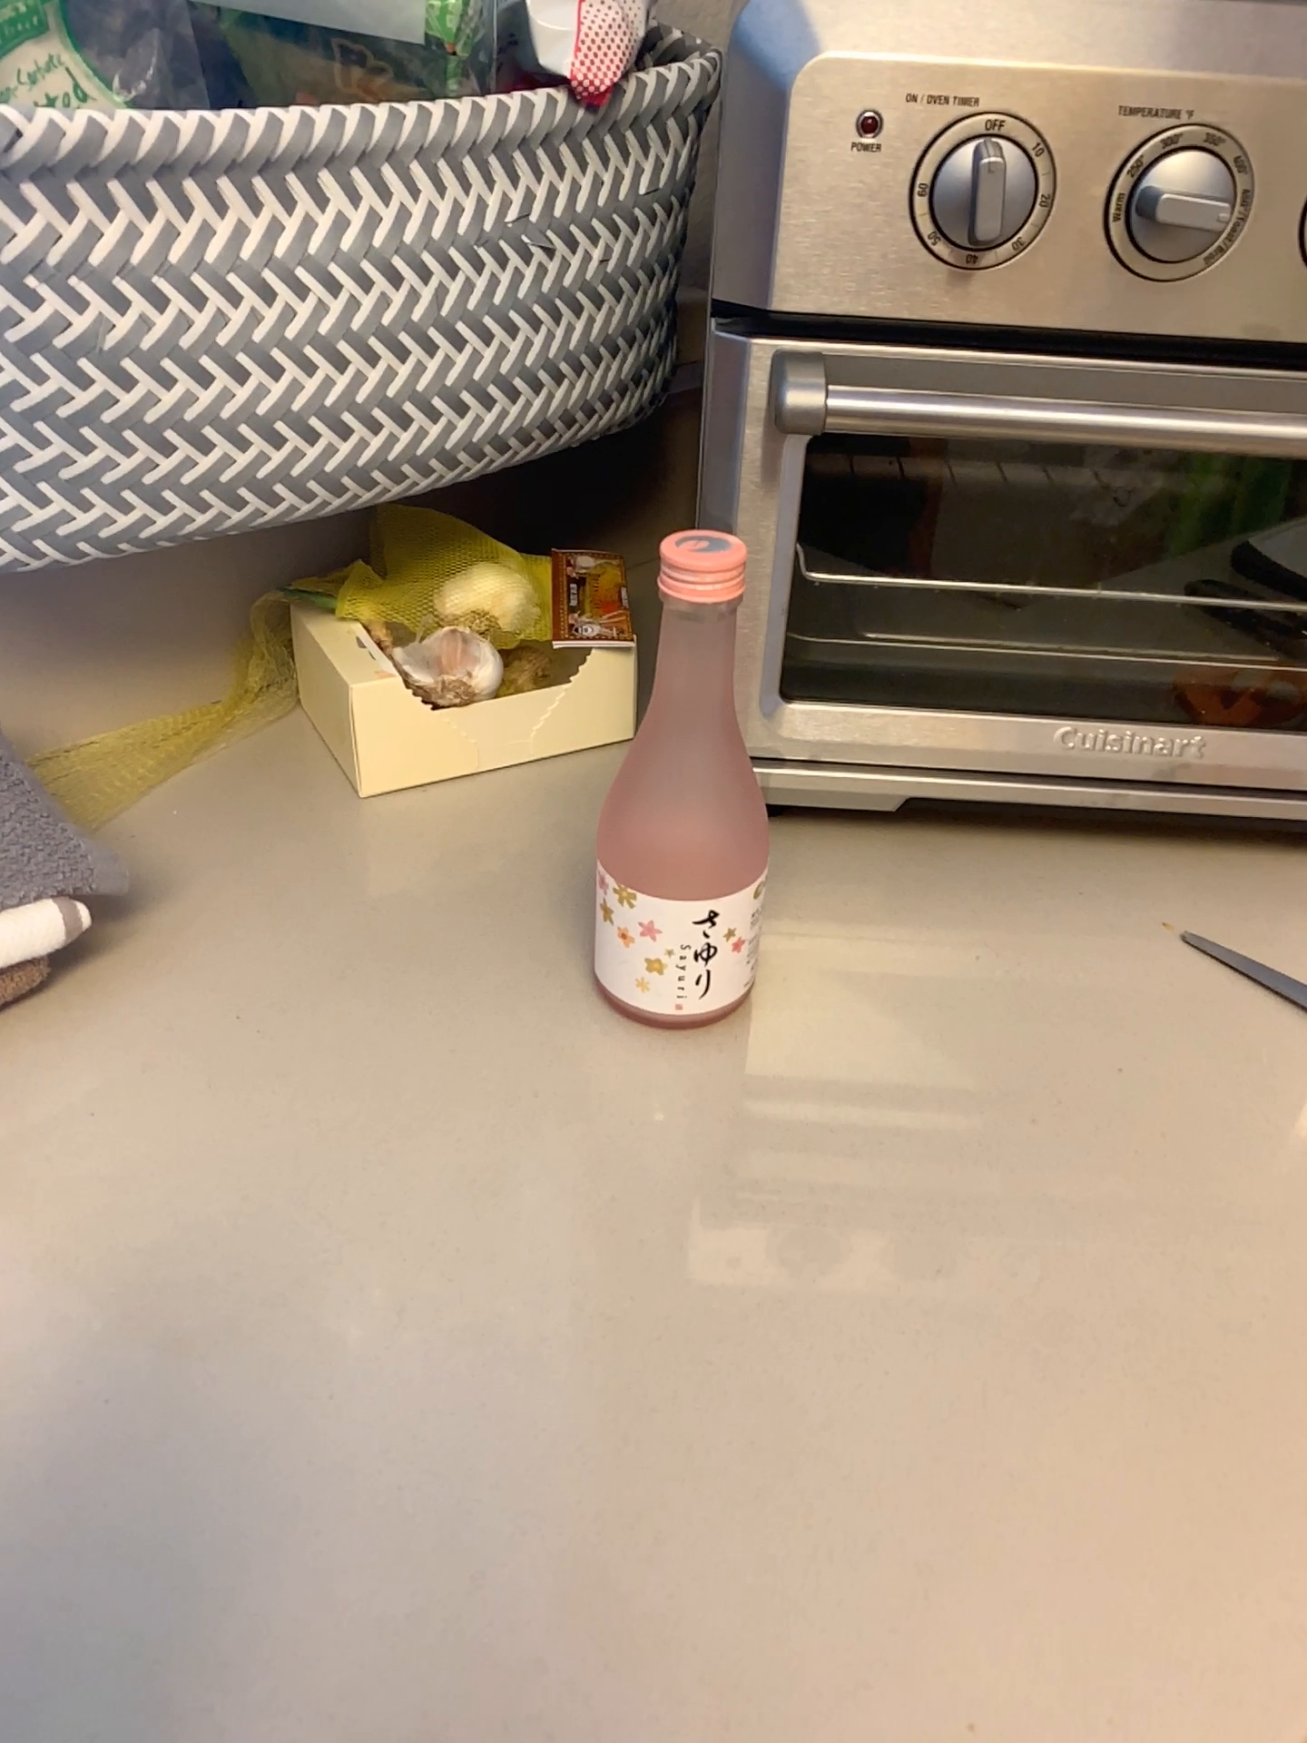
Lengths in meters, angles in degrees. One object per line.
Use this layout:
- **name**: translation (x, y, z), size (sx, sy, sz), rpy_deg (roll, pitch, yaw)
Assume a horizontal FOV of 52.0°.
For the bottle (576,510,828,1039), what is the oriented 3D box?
- **bottle**: translation (0.015, -0.032, 0.482), size (0.070, 0.169, 0.070), rpy_deg (2, 34, -1)
